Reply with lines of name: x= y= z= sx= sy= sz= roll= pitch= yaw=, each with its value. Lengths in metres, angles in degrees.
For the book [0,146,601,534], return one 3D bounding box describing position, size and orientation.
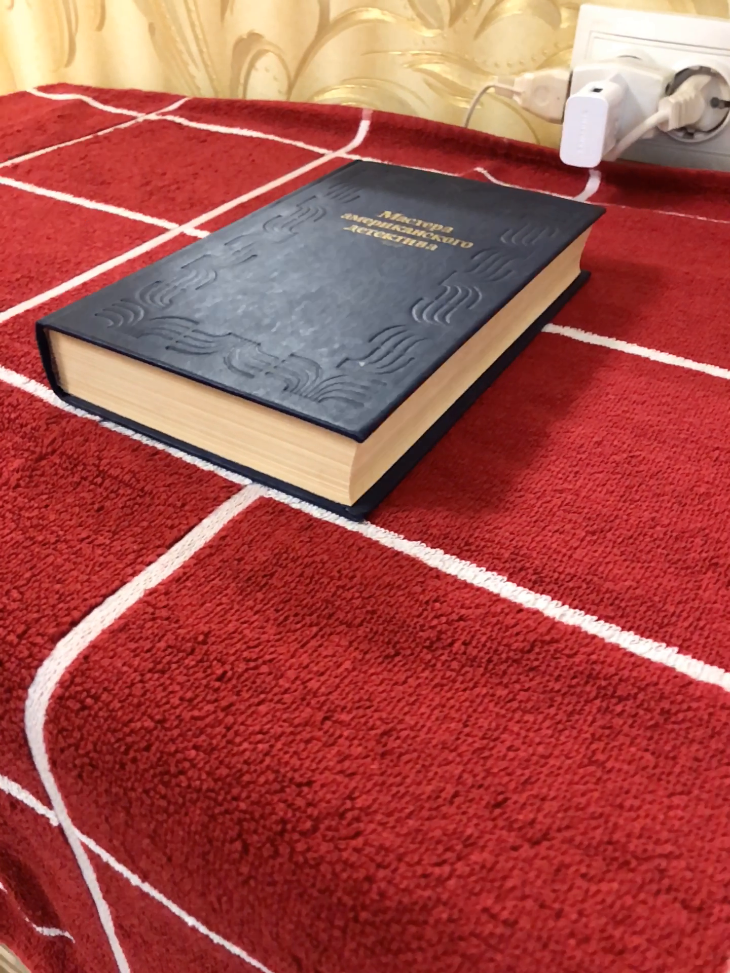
book: x=-0.016 y=-0.075 z=0.302 sx=0.143 sy=0.030 sz=0.194 roll=21 pitch=44 yaw=24
